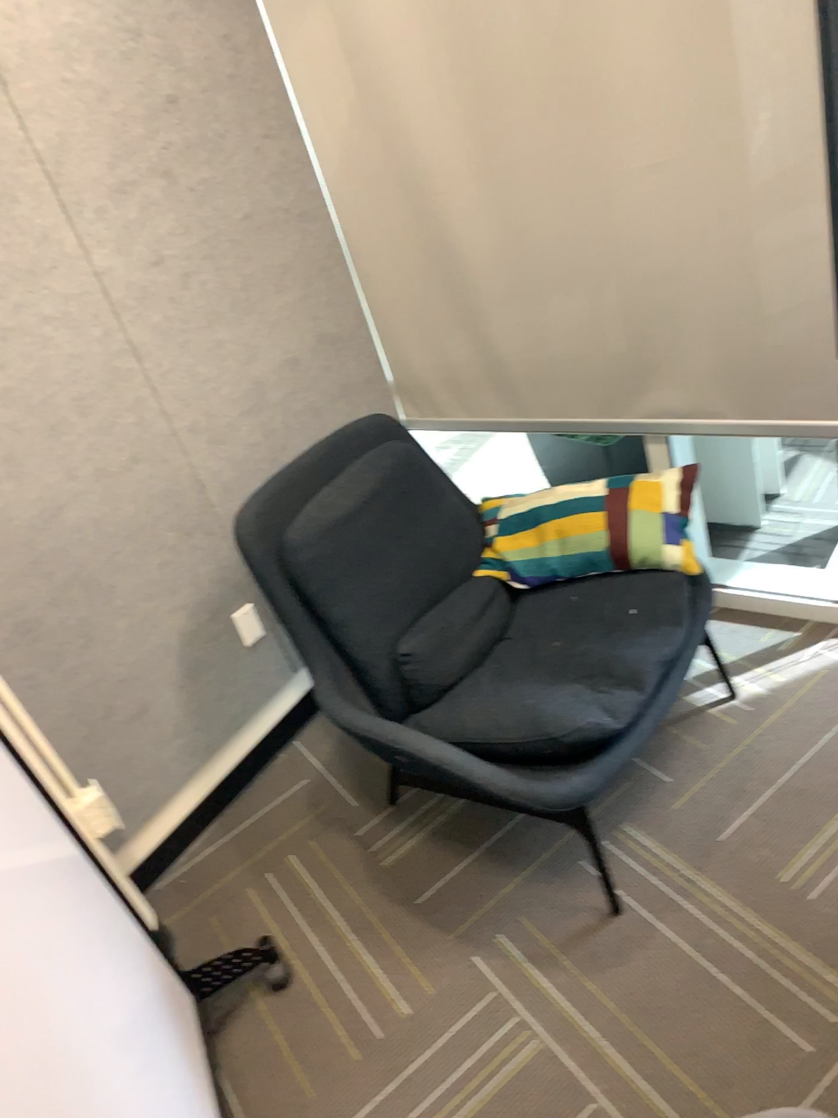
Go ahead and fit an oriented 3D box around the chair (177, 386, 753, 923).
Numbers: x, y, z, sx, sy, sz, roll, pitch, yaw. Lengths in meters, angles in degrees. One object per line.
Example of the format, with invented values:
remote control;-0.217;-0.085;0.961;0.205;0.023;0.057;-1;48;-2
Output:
chair;0.133;0.127;2.152;1.005;0.815;0.791;13;43;44
